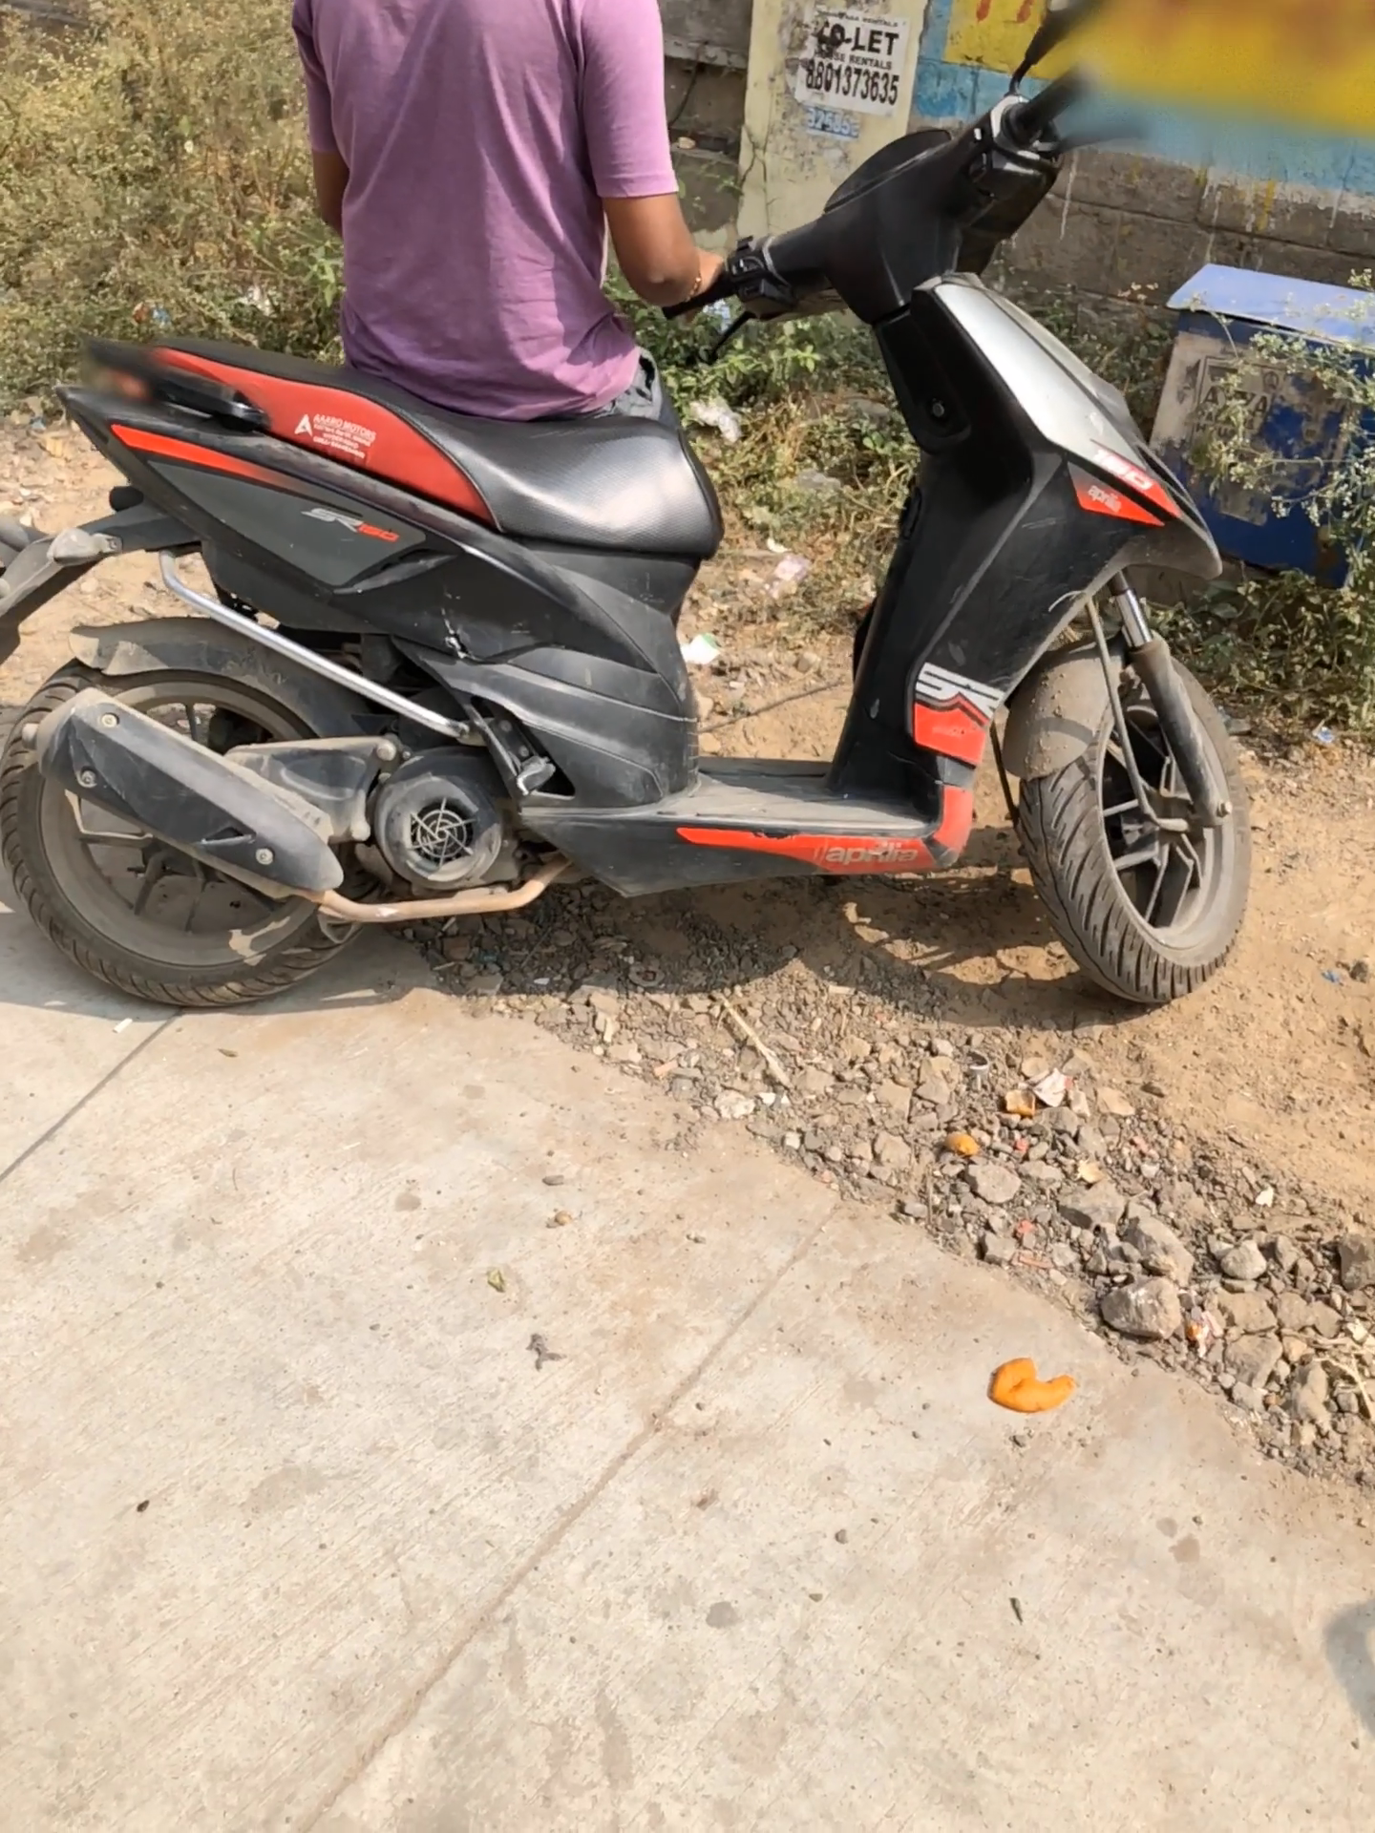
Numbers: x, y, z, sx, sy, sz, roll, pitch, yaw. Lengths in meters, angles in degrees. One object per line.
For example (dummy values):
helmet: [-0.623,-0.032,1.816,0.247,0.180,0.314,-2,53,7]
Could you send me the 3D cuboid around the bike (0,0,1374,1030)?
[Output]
bike: [-0.070,-0.664,2.186,1.766,1.199,0.721,-7,36,-13]
